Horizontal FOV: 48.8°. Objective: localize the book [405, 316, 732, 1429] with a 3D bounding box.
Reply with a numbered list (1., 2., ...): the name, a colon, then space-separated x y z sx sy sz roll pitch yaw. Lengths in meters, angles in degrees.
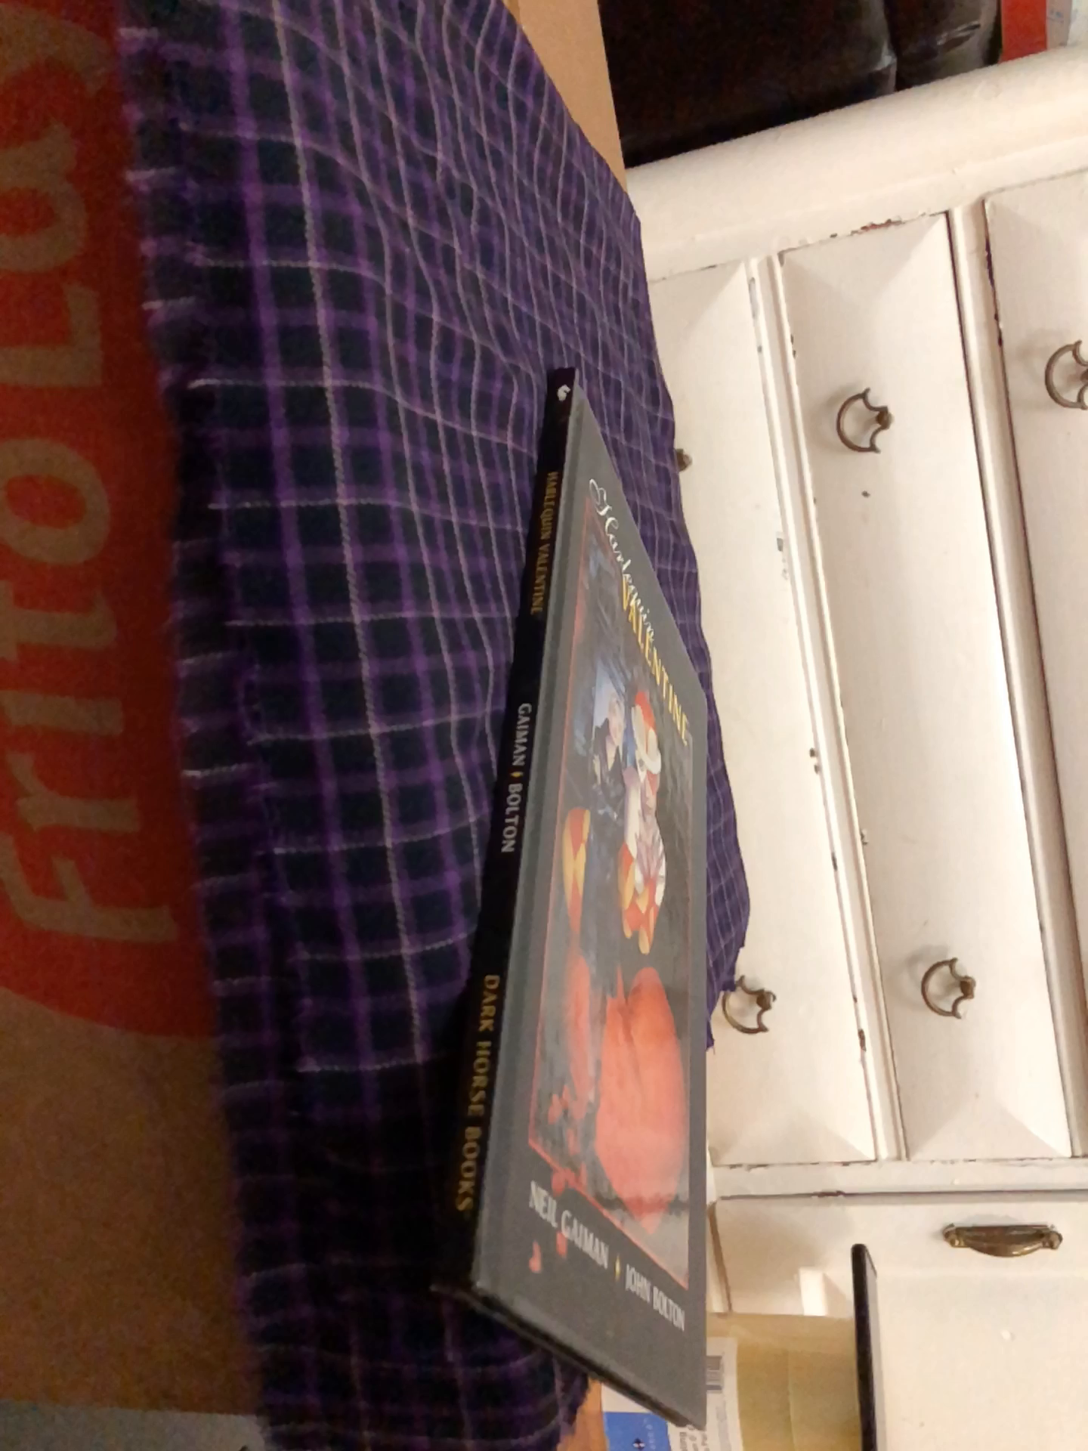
1. book: 0.025 0.039 0.362 0.180 0.020 0.281 59 28 -49
